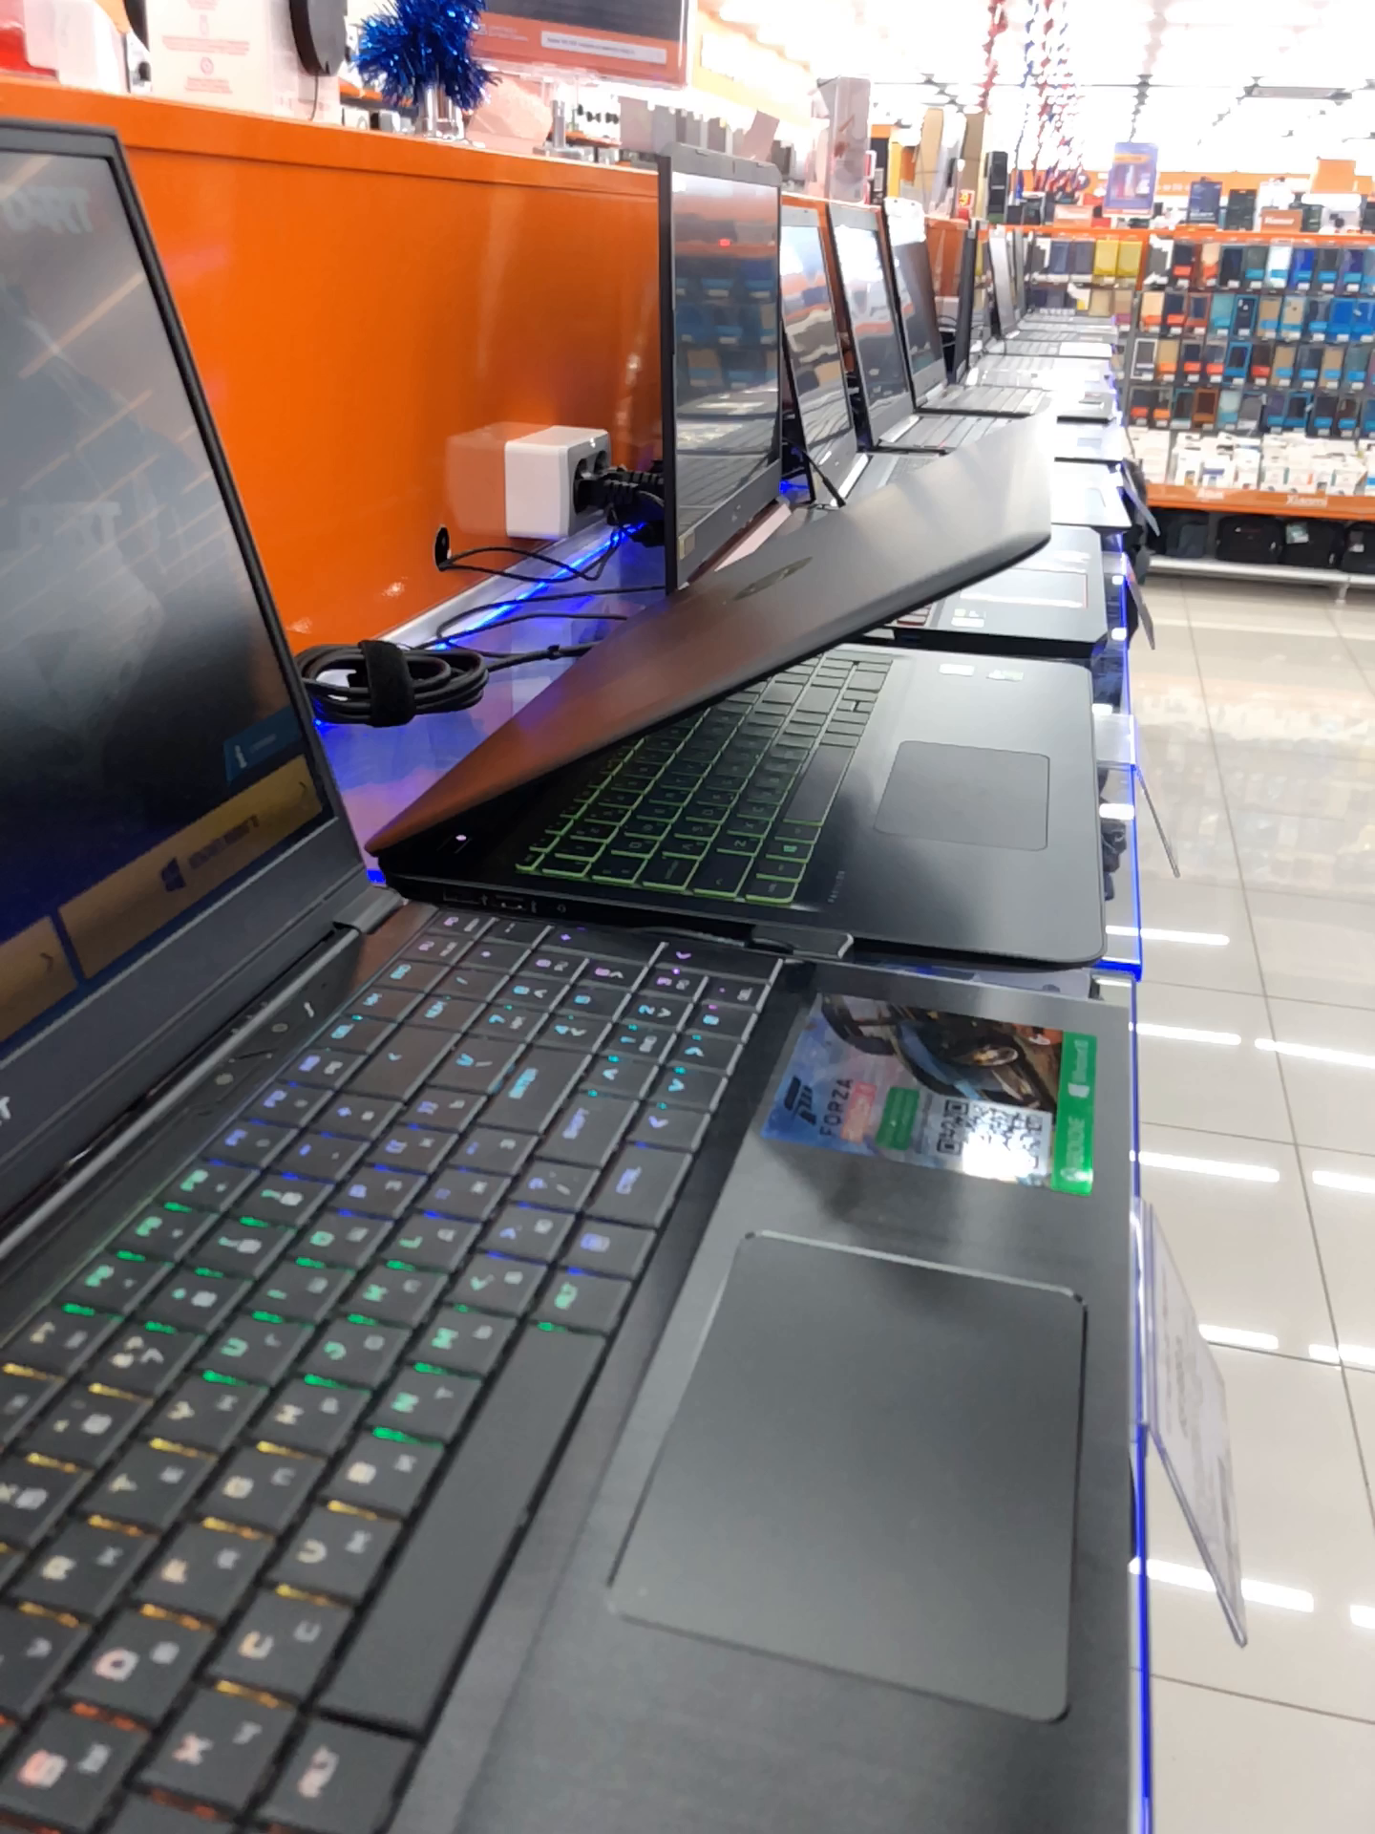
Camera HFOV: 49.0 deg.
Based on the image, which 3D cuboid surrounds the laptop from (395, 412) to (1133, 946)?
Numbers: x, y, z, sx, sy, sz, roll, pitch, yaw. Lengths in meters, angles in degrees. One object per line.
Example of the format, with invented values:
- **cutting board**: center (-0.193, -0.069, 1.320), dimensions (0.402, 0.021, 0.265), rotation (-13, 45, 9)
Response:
- **laptop**: center (0.061, -0.130, 0.646), dimensions (0.227, 0.118, 0.371), rotation (8, 24, 11)

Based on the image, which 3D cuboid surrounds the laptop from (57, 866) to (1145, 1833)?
- **laptop**: center (0.016, 0.171, 0.575), dimensions (0.262, 0.218, 0.413), rotation (8, 24, 12)

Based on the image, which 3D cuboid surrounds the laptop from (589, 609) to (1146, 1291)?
- **laptop**: center (0.124, -0.014, 0.969), dimensions (0.274, 0.255, 0.399), rotation (6, 25, 12)

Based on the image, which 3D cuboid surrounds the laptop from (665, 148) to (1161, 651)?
- **laptop**: center (0.155, -0.360, 1.024), dimensions (0.253, 0.245, 0.411), rotation (6, 24, 7)

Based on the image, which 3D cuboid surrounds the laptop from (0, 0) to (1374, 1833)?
- **laptop**: center (-0.054, -0.032, 0.272), dimensions (0.303, 0.219, 0.342), rotation (8, 23, 11)
